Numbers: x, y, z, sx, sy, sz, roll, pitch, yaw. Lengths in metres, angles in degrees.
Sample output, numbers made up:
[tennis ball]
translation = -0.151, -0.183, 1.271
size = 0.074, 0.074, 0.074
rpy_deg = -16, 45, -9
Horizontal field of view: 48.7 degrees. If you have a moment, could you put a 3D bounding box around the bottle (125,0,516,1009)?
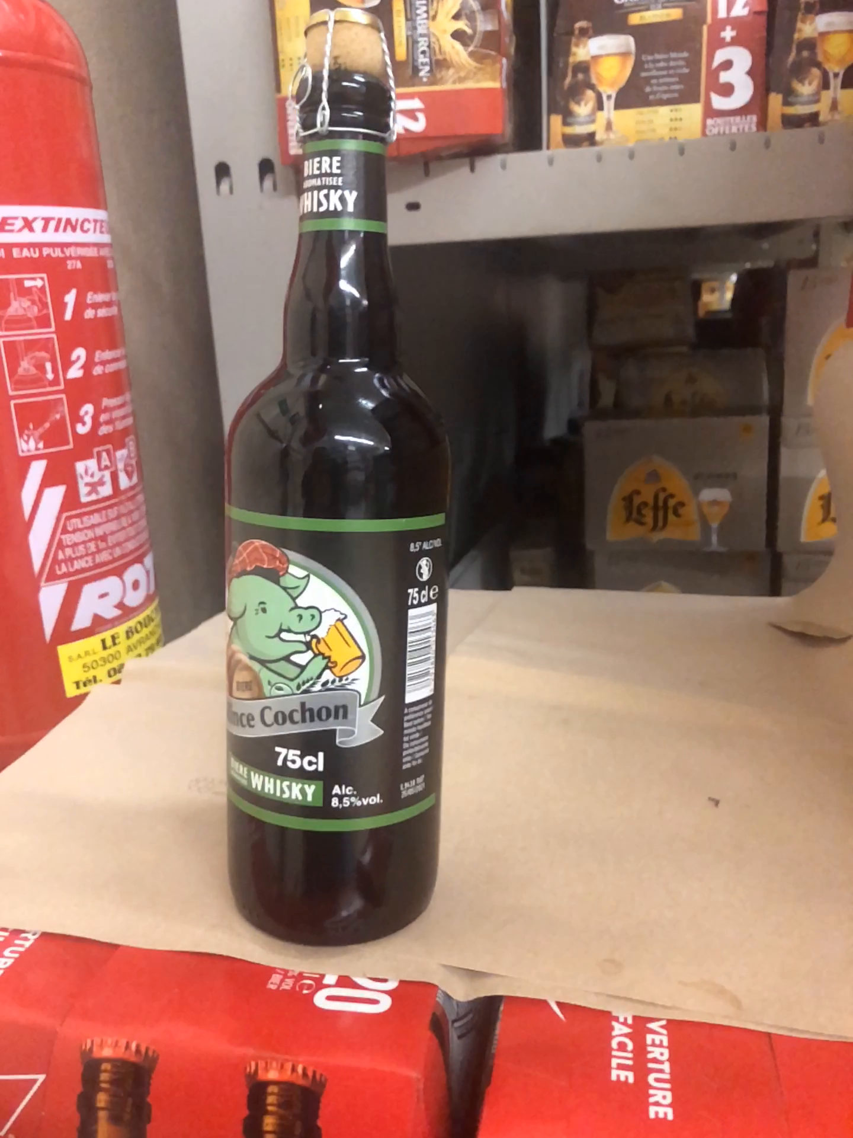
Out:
[bottle]
translation = -0.029, -0.028, 0.308
size = 0.090, 0.299, 0.080
rpy_deg = 4, 9, 23
